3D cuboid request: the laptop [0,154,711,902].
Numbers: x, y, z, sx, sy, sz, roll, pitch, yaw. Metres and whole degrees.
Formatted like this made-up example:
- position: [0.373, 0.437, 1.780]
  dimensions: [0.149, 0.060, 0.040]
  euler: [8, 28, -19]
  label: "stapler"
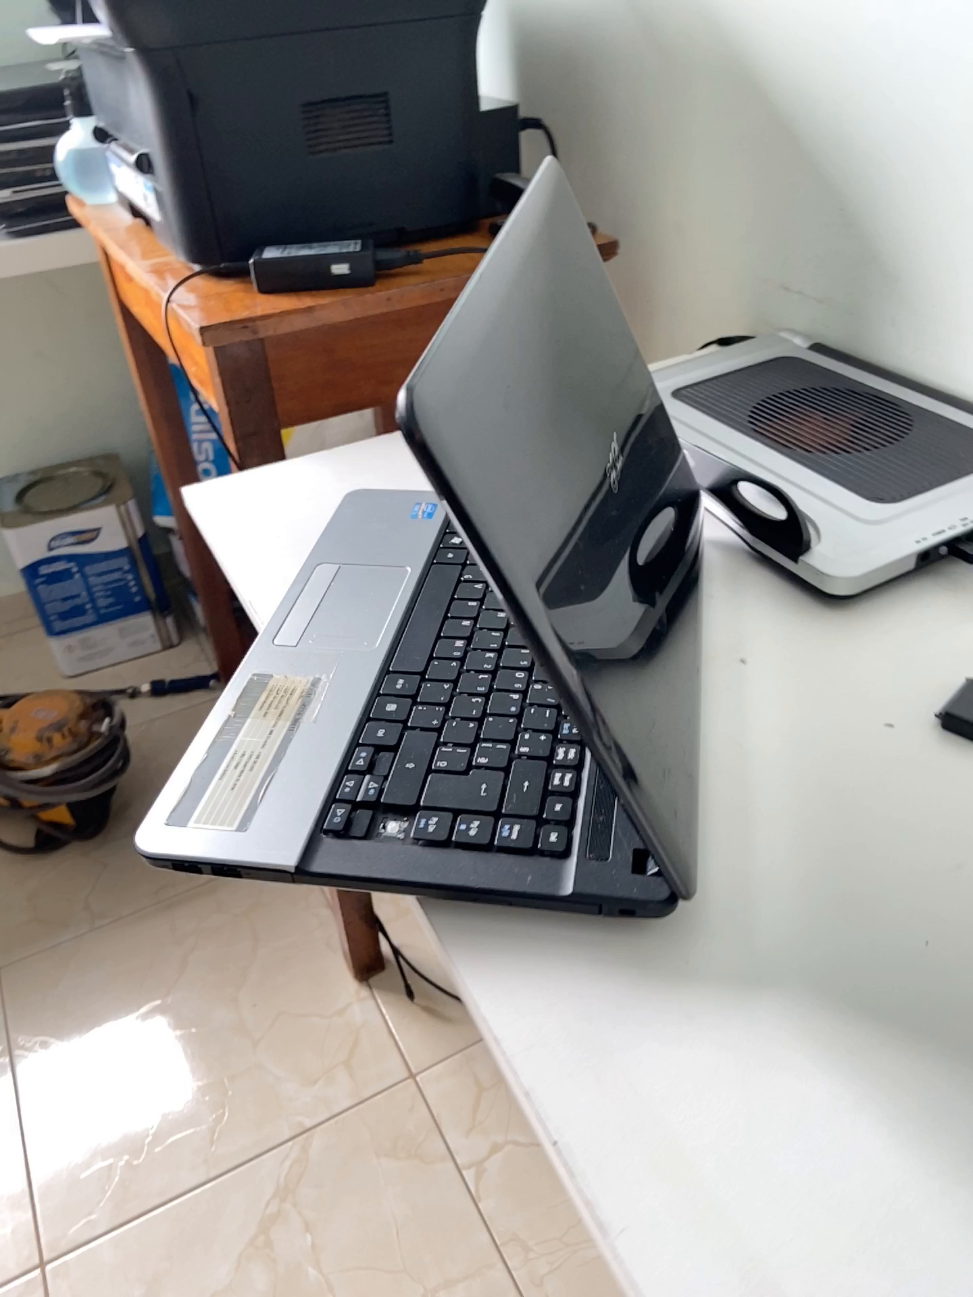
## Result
- position: [-0.018, -0.089, 0.491]
  dimensions: [0.238, 0.211, 0.328]
  euler: [3, 37, 10]
  label: "laptop"
